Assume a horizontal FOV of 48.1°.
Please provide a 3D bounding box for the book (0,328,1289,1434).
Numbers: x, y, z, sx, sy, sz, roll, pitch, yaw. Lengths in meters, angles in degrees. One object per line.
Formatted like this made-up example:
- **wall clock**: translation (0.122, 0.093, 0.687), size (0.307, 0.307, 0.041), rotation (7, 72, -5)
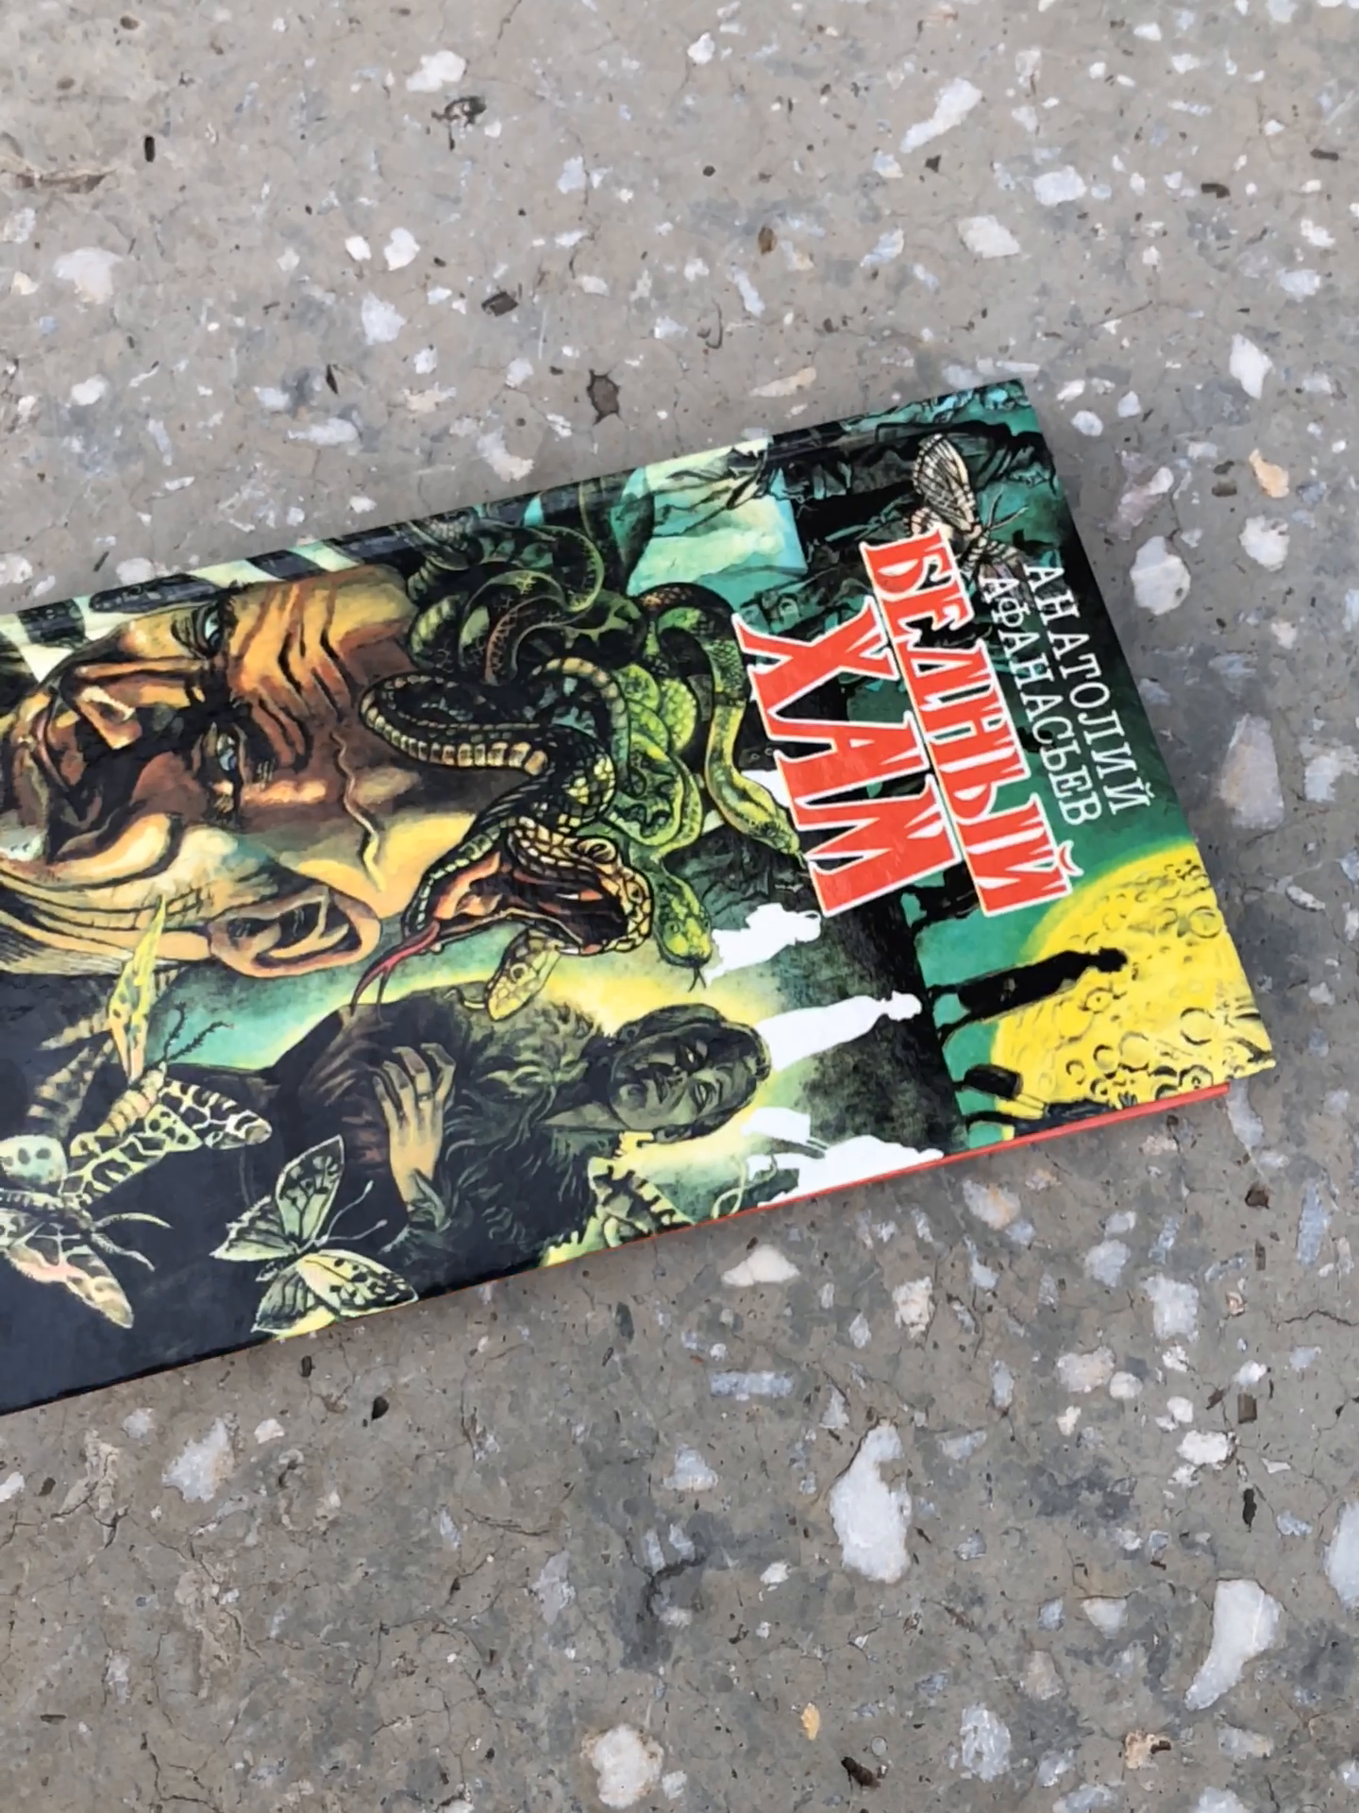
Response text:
- **book**: translation (-0.021, -0.010, 0.256), size (0.201, 0.020, 0.142), rotation (-13, 75, -2)
